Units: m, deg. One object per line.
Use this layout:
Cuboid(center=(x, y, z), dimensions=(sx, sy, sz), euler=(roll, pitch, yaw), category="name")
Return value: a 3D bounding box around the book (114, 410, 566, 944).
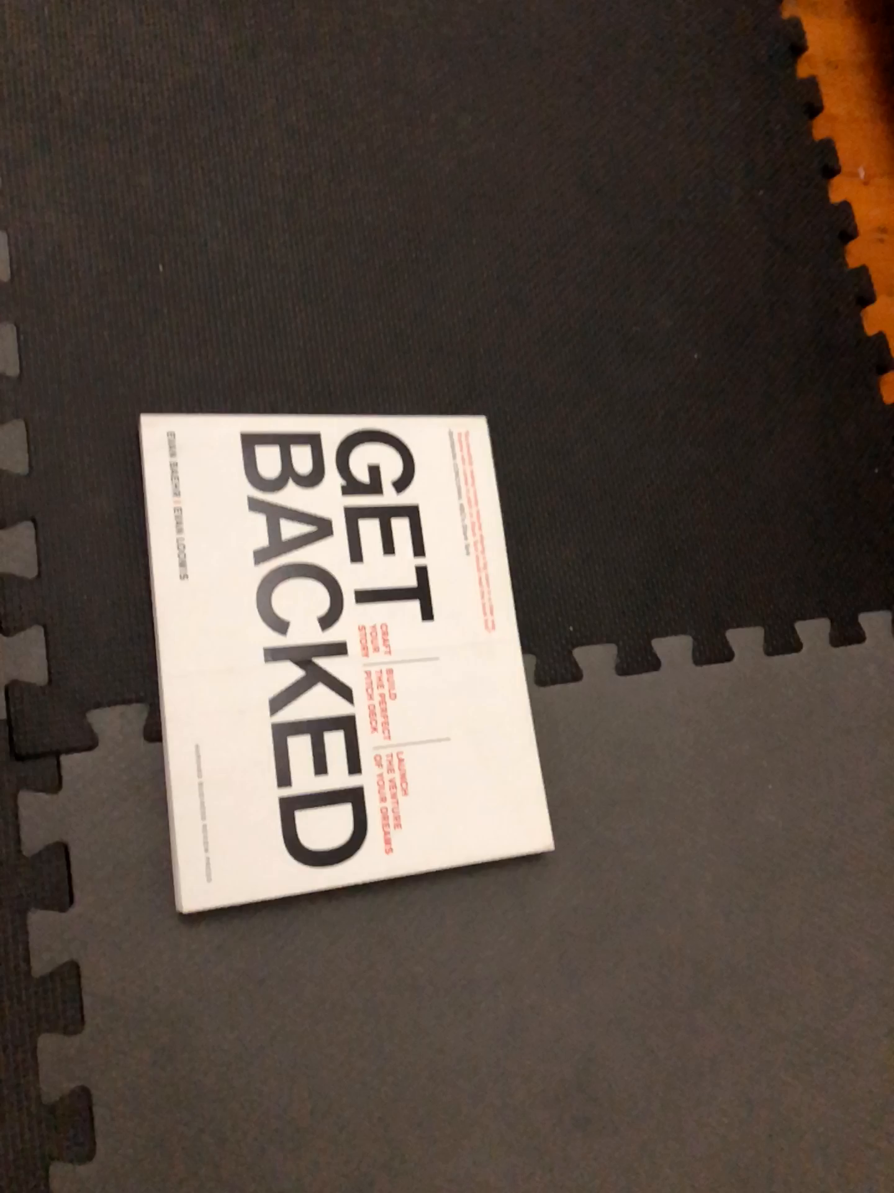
Cuboid(center=(-0.056, 0.028, 0.520), dimensions=(0.210, 0.020, 0.260), euler=(-3, 78, -20), category="book")
